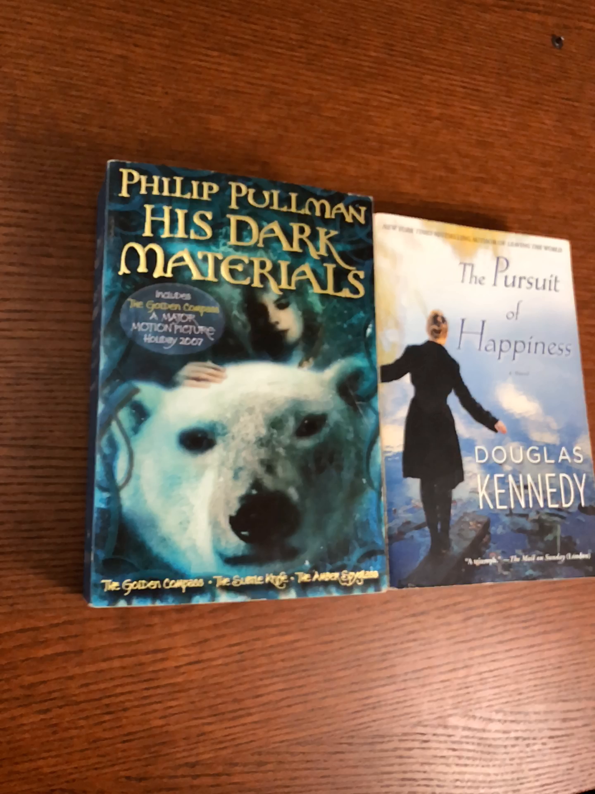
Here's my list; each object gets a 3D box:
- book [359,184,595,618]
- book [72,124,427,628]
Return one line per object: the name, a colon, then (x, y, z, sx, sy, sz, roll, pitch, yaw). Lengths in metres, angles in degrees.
book: (0.135, 0.002, 0.426, 0.180, 0.040, 0.250, 3, 78, -20)
book: (-0.026, -0.011, 0.375, 0.180, 0.050, 0.250, 3, 78, -20)
